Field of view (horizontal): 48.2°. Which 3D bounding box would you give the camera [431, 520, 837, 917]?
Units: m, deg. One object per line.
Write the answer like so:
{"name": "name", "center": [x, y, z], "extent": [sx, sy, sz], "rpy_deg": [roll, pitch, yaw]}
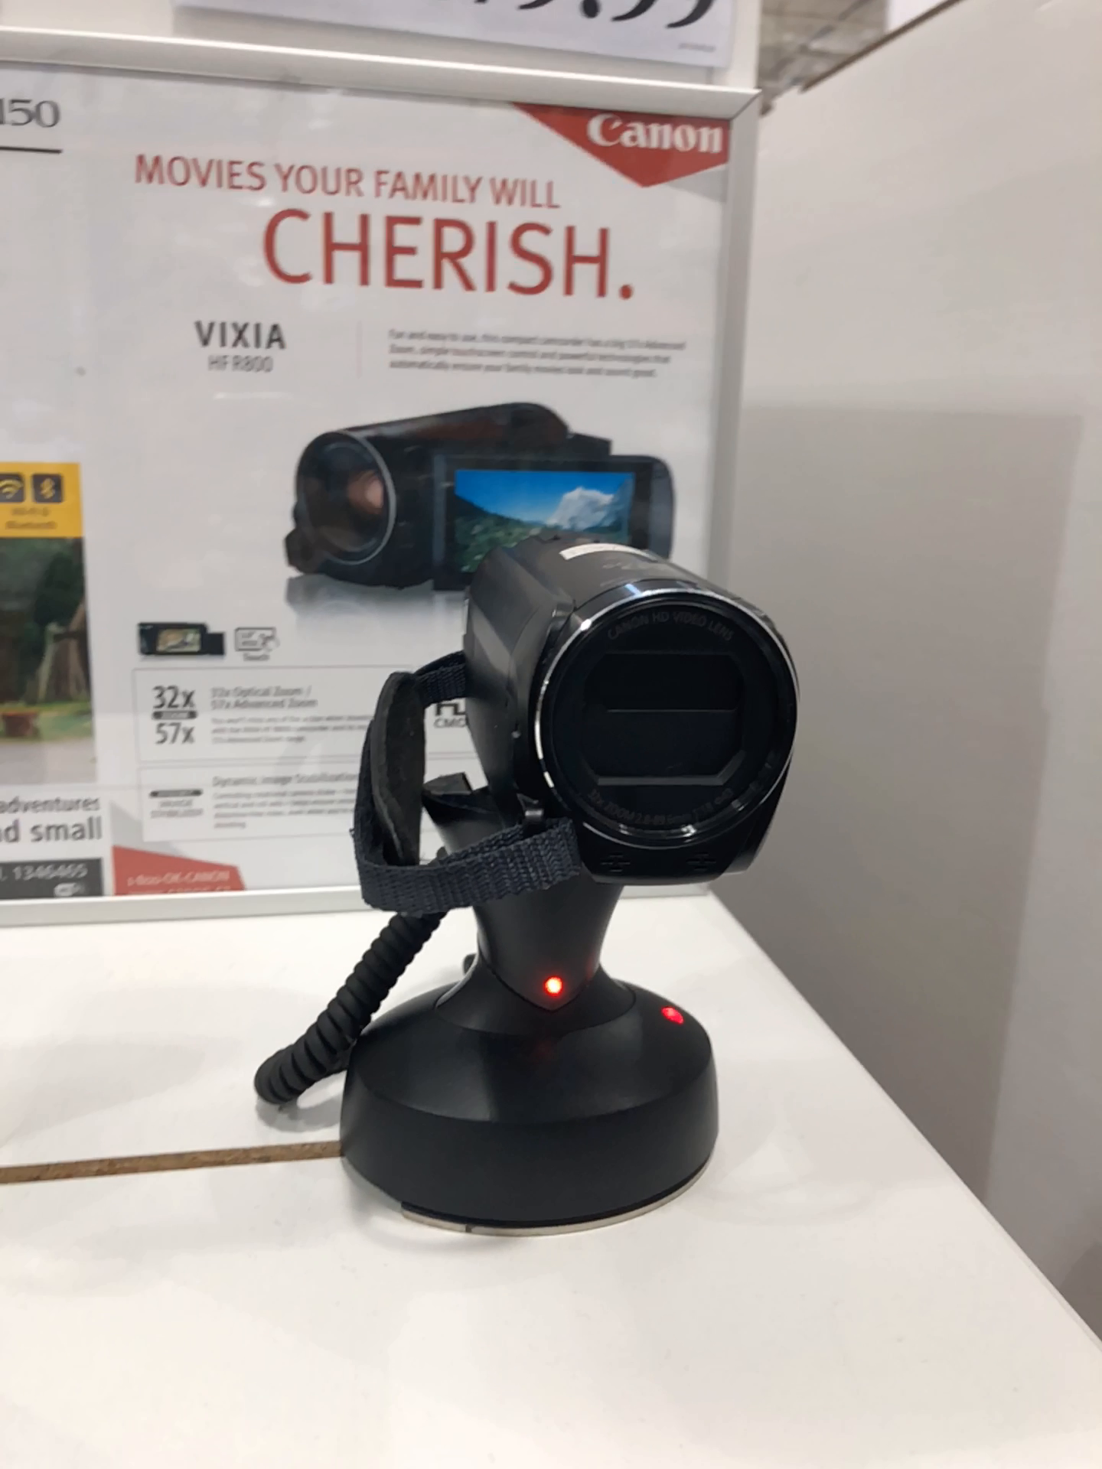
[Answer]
{"name": "camera", "center": [0.008, -0.013, 0.279], "extent": [0.060, 0.060, 0.130], "rpy_deg": [0, 14, -10]}
